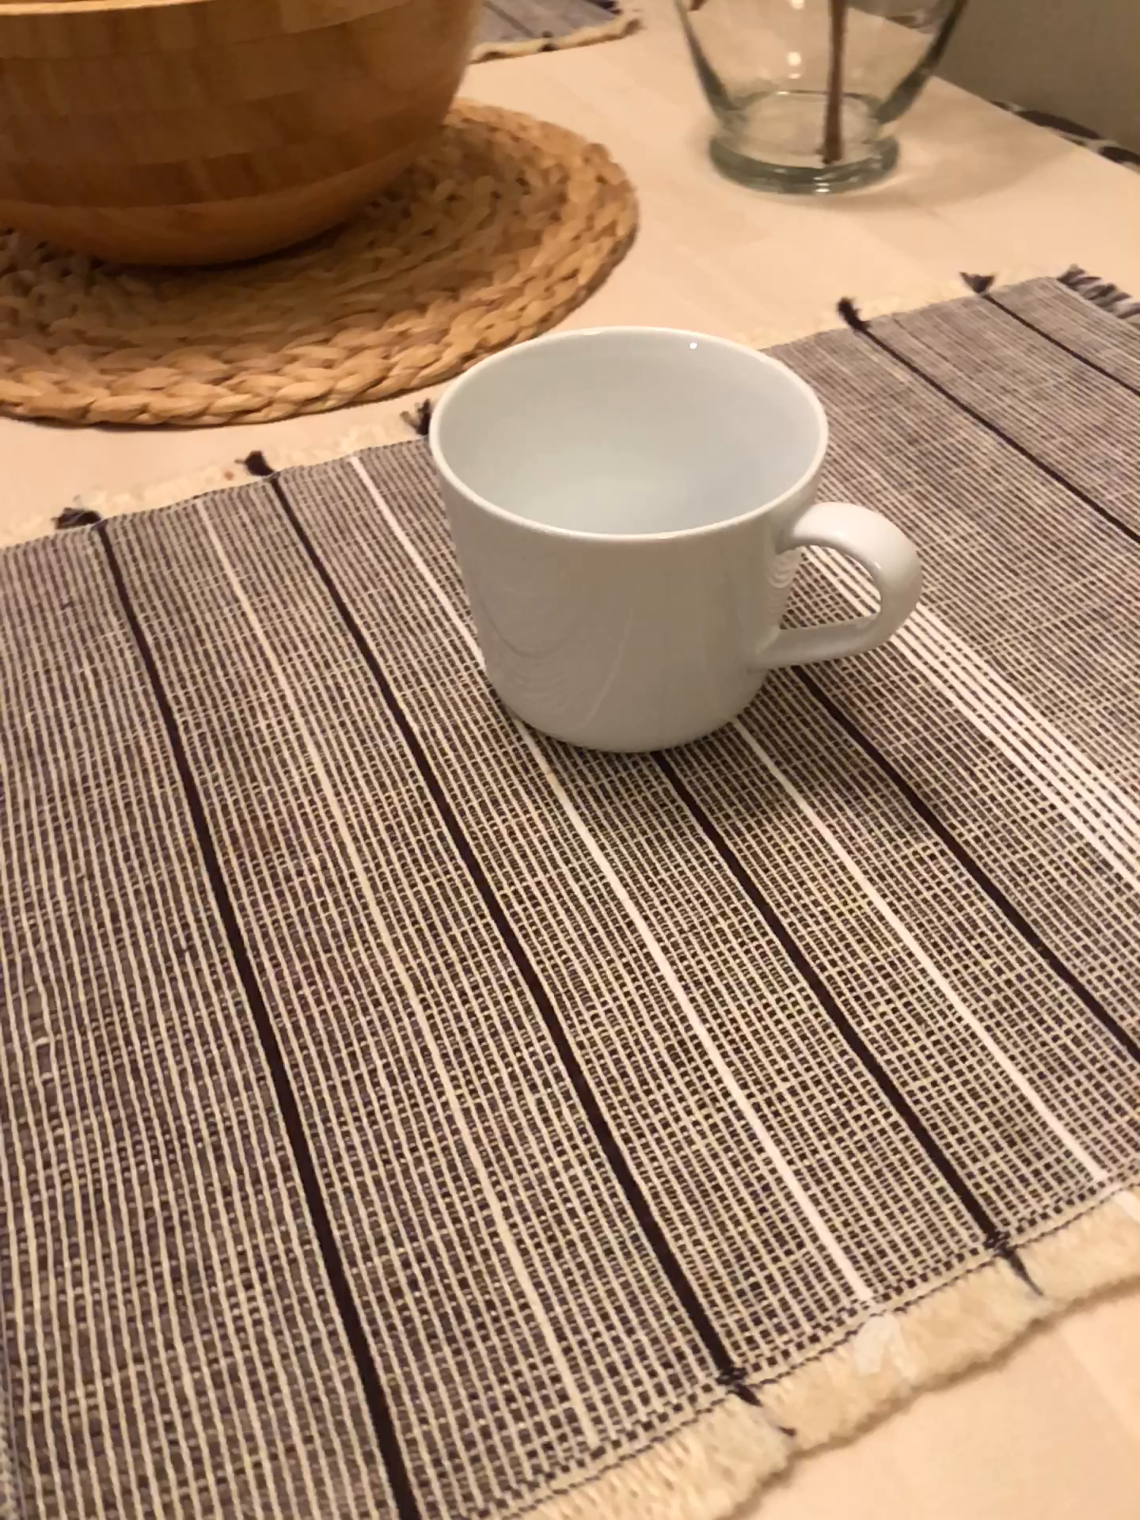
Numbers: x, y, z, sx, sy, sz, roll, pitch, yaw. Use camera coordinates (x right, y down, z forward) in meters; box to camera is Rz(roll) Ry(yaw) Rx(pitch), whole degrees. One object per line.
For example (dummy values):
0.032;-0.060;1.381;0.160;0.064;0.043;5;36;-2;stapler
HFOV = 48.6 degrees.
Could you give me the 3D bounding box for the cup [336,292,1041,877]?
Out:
0.029;-0.054;0.333;0.140;0.070;0.100;26;51;26;cup
